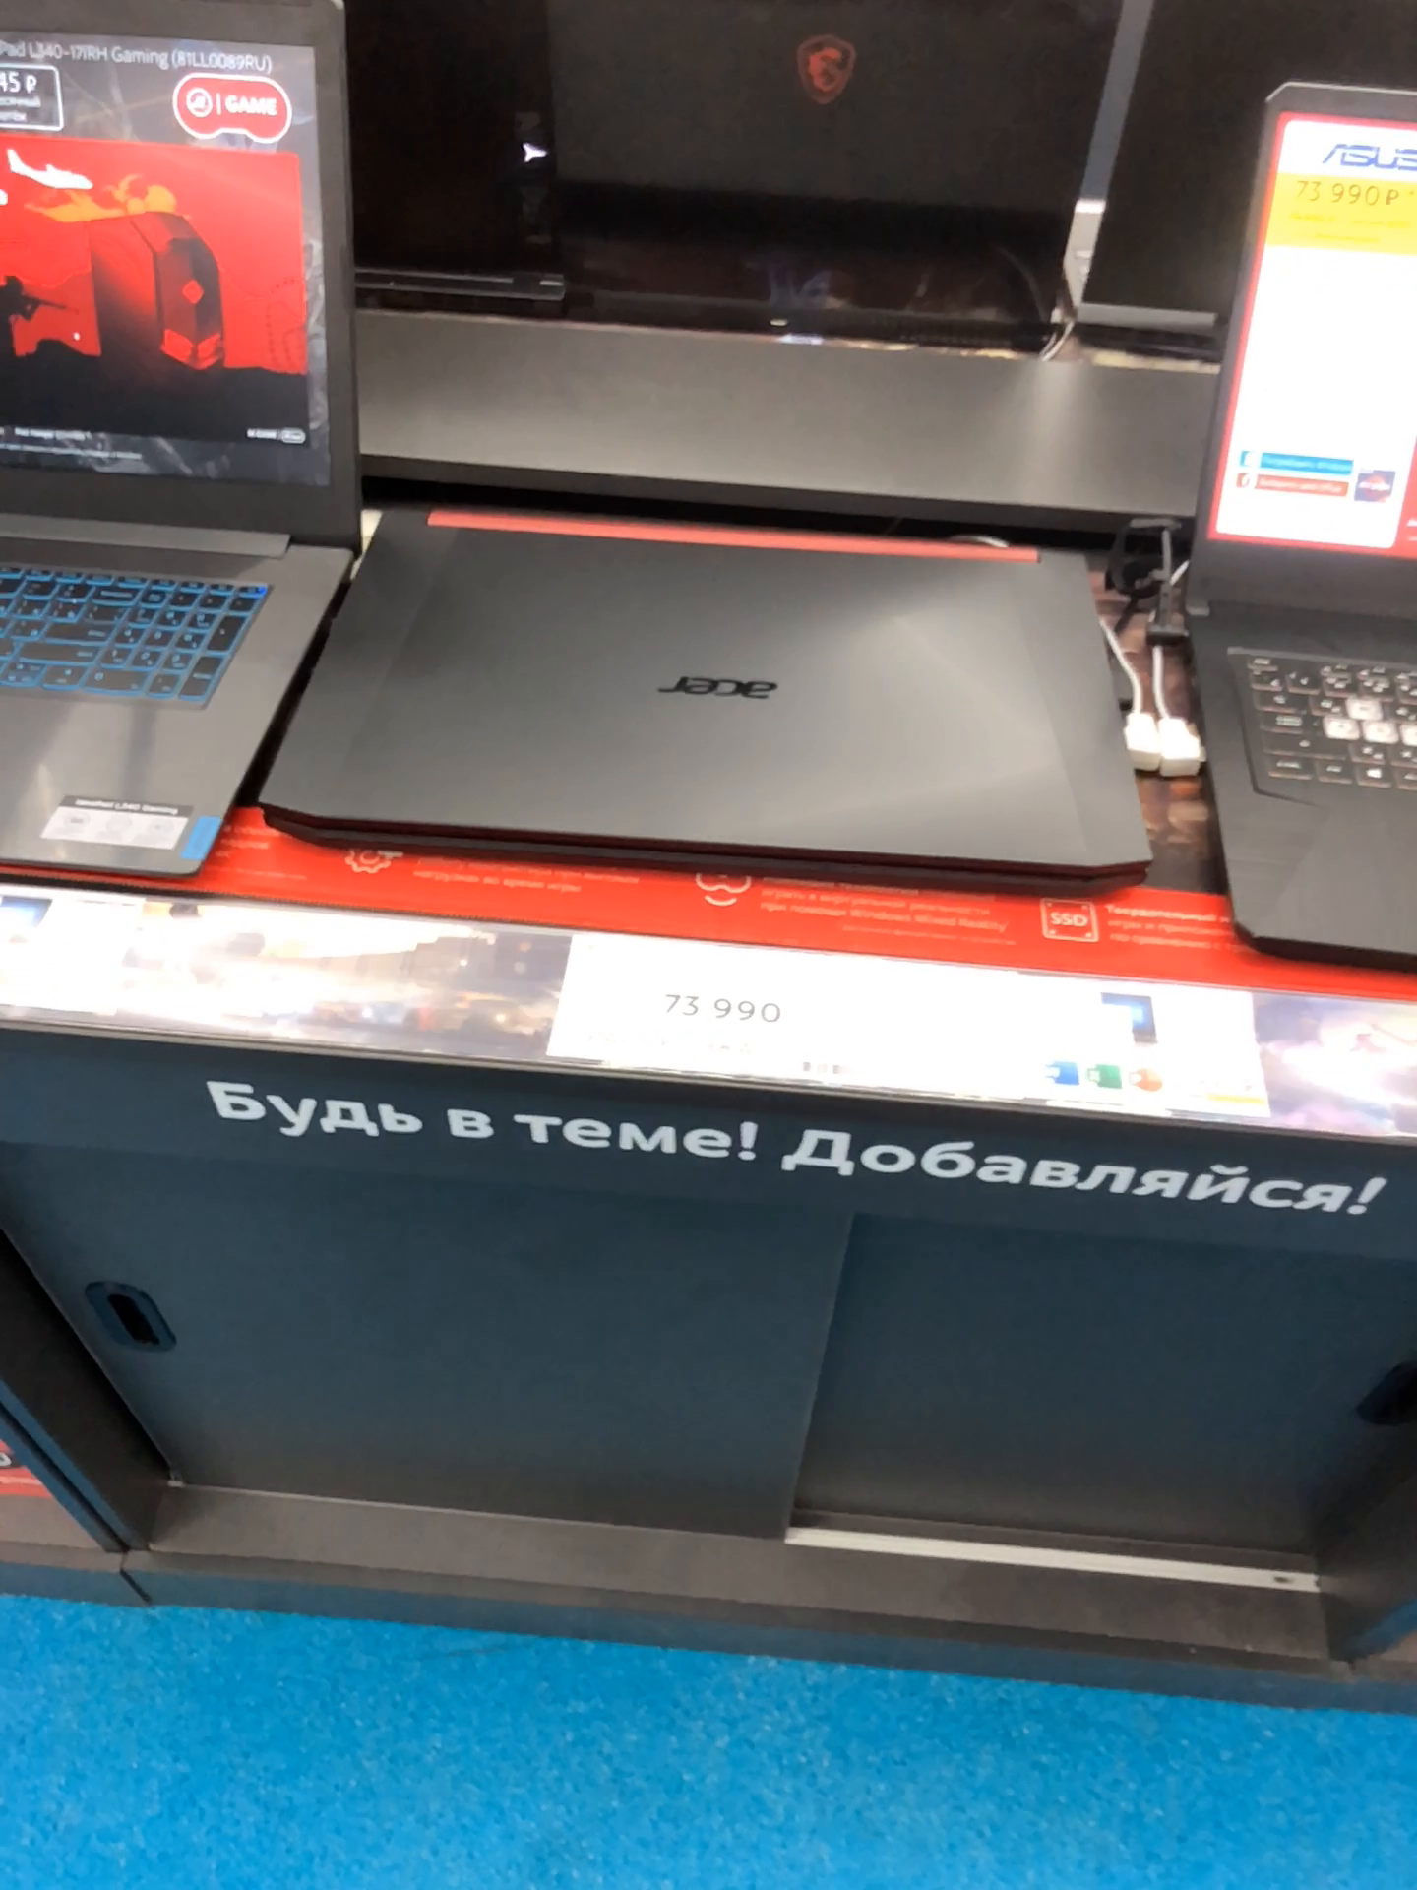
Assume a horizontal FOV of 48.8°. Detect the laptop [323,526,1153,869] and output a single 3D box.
[{"bbox_3d":[0.017,-0.135,0.788,0.370,0.002,0.256,4,43,-1],"label":"laptop"}]
